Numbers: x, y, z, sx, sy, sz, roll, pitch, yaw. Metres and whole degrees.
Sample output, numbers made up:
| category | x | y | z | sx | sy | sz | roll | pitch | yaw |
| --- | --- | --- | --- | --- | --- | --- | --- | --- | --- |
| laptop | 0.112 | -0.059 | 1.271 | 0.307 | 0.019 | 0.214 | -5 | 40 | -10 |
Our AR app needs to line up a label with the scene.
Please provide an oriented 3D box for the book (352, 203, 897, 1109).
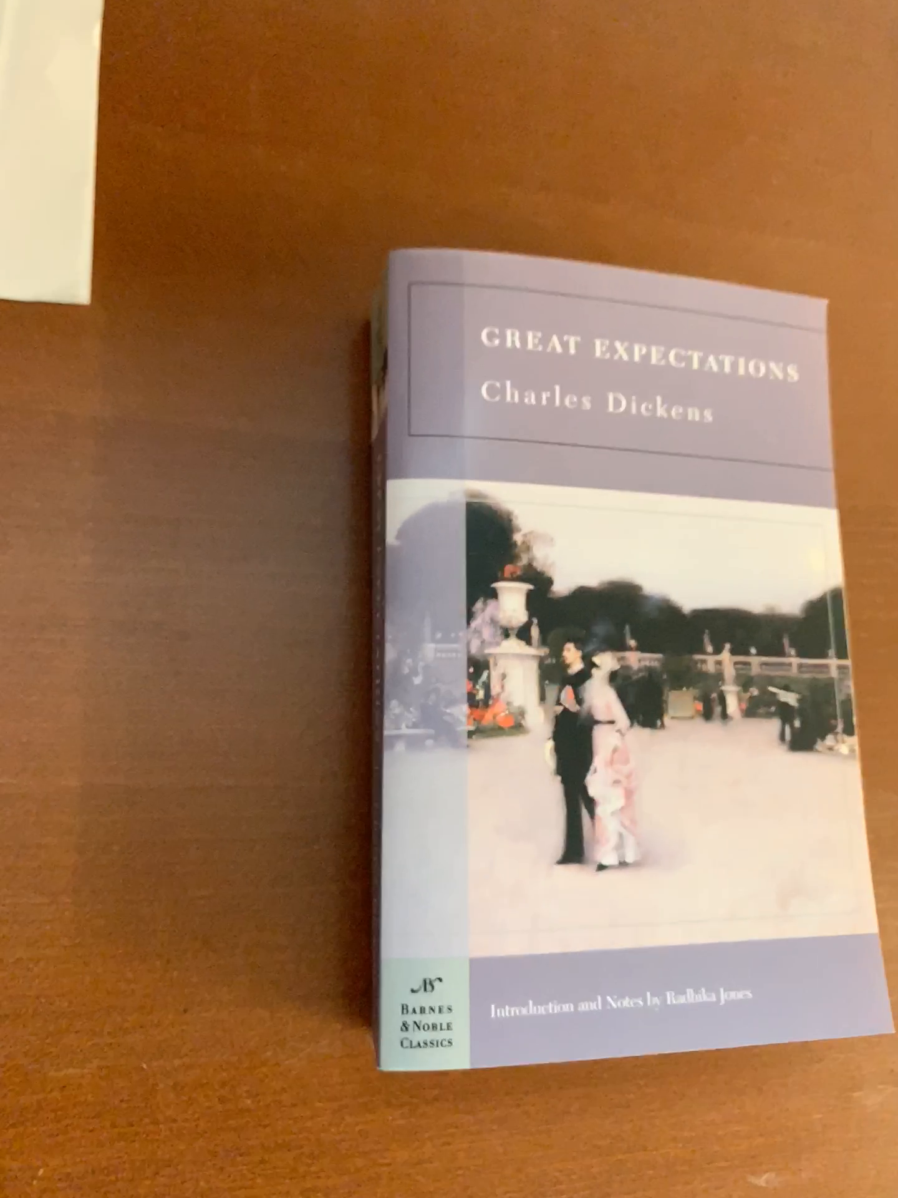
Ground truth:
| category | x | y | z | sx | sy | sz | roll | pitch | yaw |
| --- | --- | --- | --- | --- | --- | --- | --- | --- | --- |
| book | 0.048 | 0.010 | 0.246 | 0.140 | 0.040 | 0.200 | 2 | 80 | -16 |
